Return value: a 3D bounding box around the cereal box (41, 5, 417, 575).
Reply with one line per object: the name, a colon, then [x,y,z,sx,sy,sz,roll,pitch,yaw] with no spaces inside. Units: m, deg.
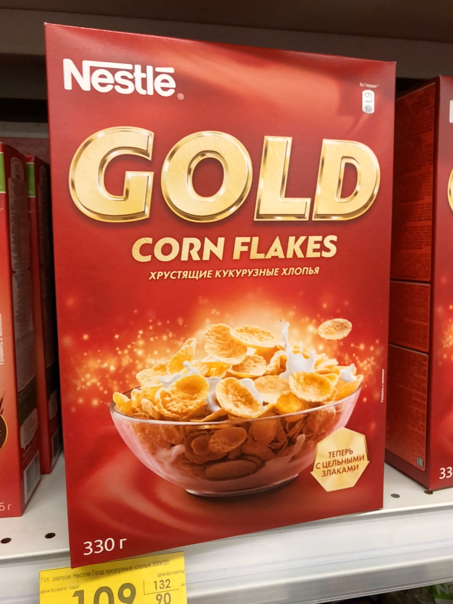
cereal box: [0.004,-0.004,0.303,0.200,0.279,0.060,-3,8,-17]
